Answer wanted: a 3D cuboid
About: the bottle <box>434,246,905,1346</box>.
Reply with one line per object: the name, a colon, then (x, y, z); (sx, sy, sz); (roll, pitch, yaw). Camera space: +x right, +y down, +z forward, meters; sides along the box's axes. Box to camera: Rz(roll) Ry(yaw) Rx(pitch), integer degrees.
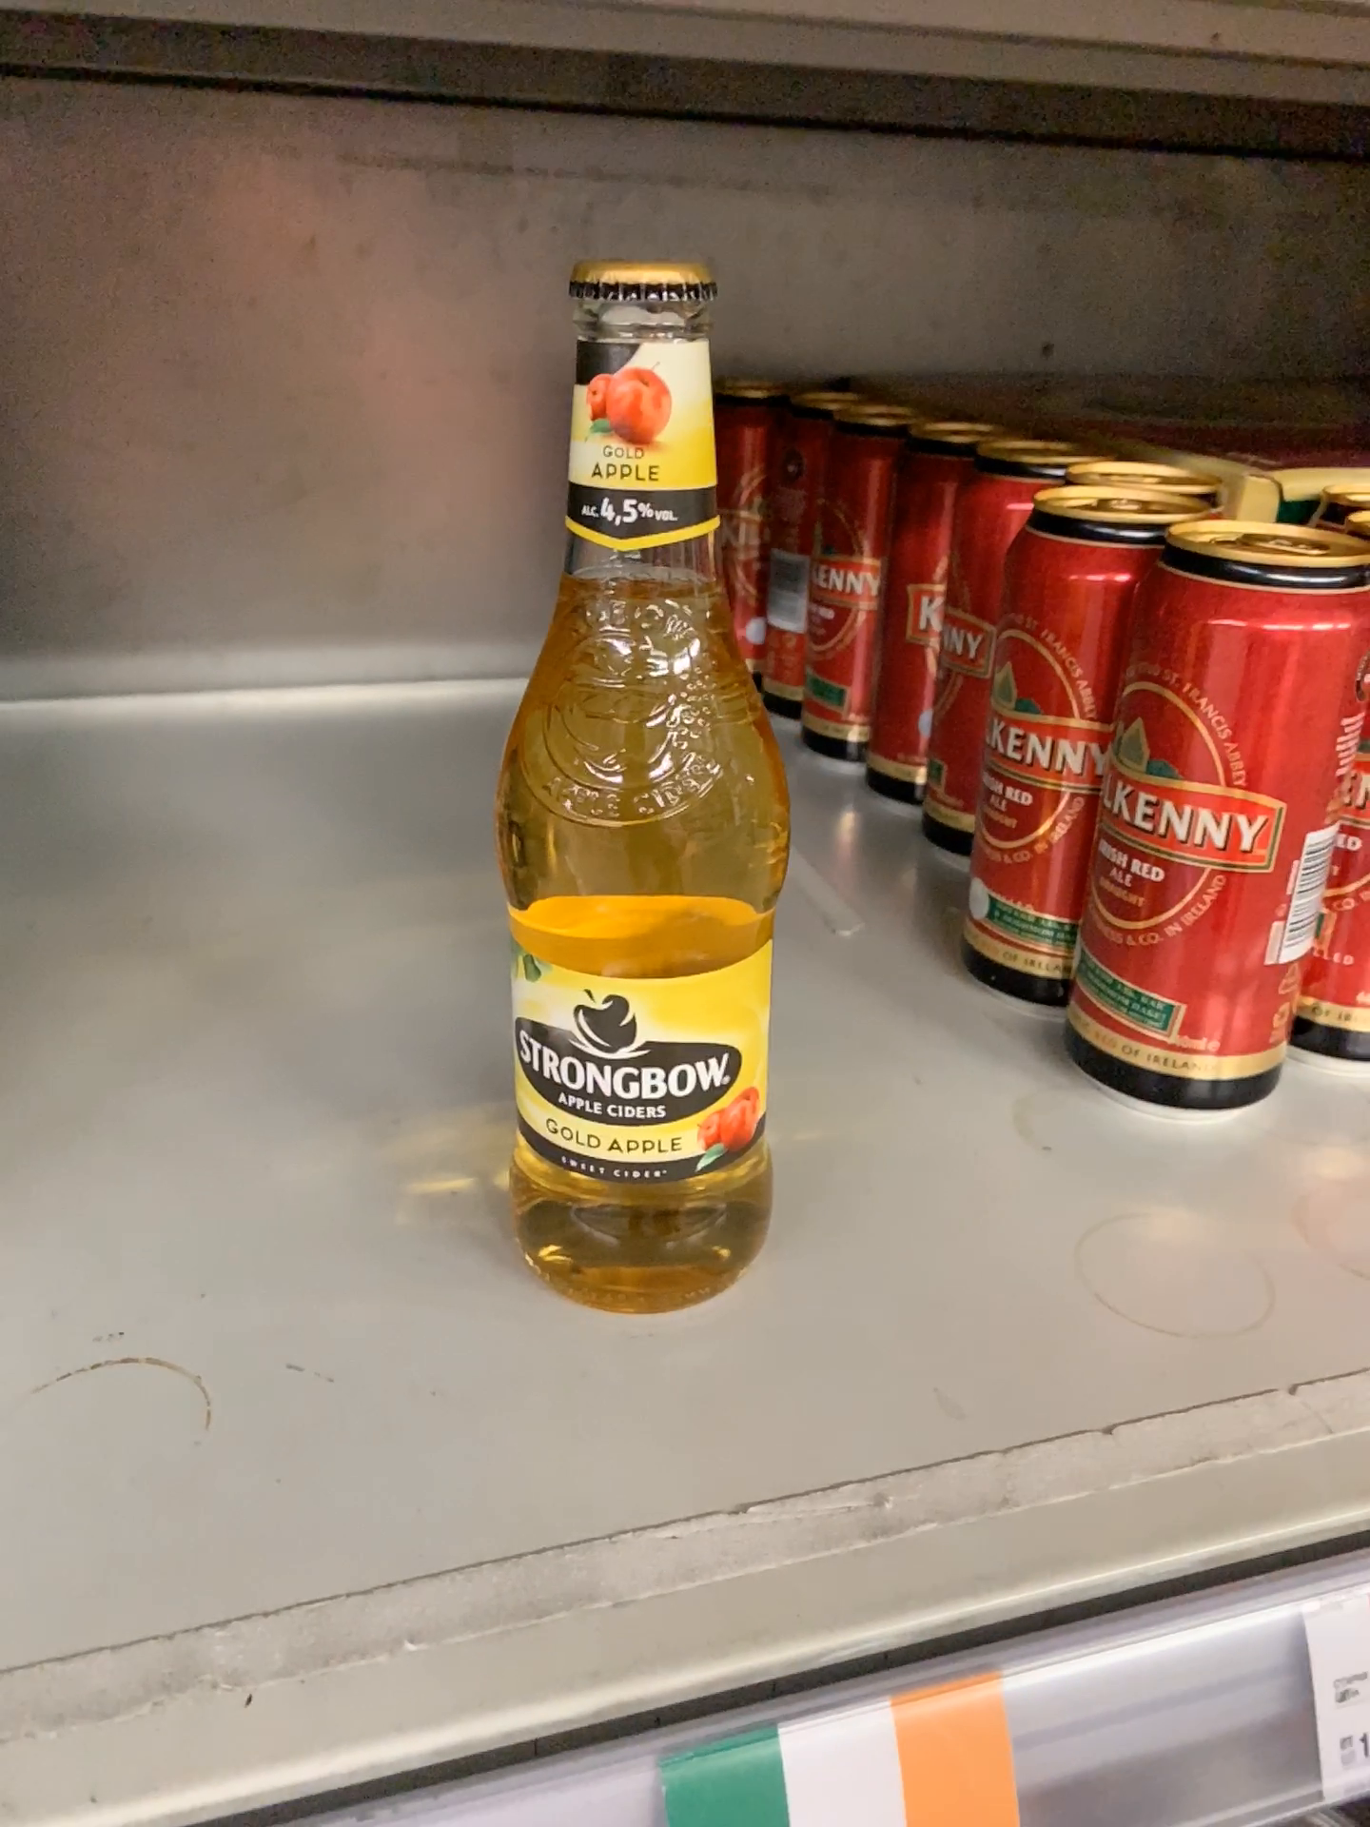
bottle: (-0.003, -0.026, 0.341); (0.080, 0.239, 0.080); (2, 23, -1)
